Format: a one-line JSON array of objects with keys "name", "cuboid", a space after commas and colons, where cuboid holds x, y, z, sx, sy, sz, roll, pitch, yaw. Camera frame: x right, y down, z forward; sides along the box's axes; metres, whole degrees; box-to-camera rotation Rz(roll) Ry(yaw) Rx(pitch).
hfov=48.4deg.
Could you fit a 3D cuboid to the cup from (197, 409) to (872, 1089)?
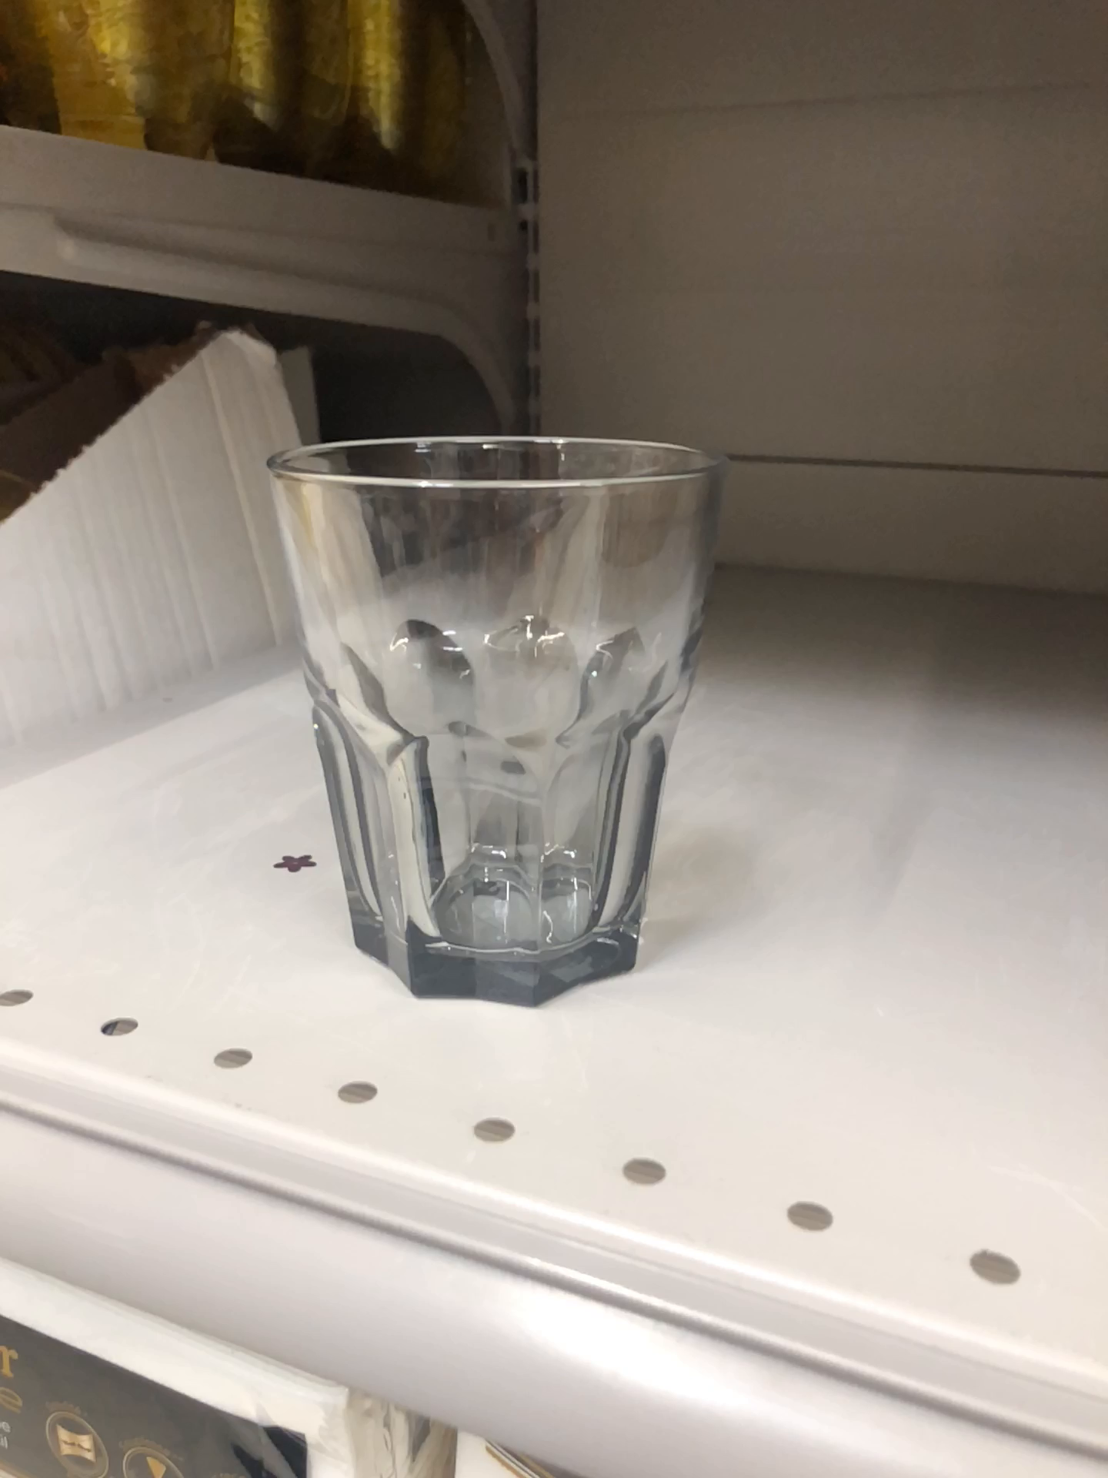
[{"name": "cup", "cuboid": [-0.006, -0.010, 0.229, 0.083, 0.092, 0.085, 0, 18, 0]}]
